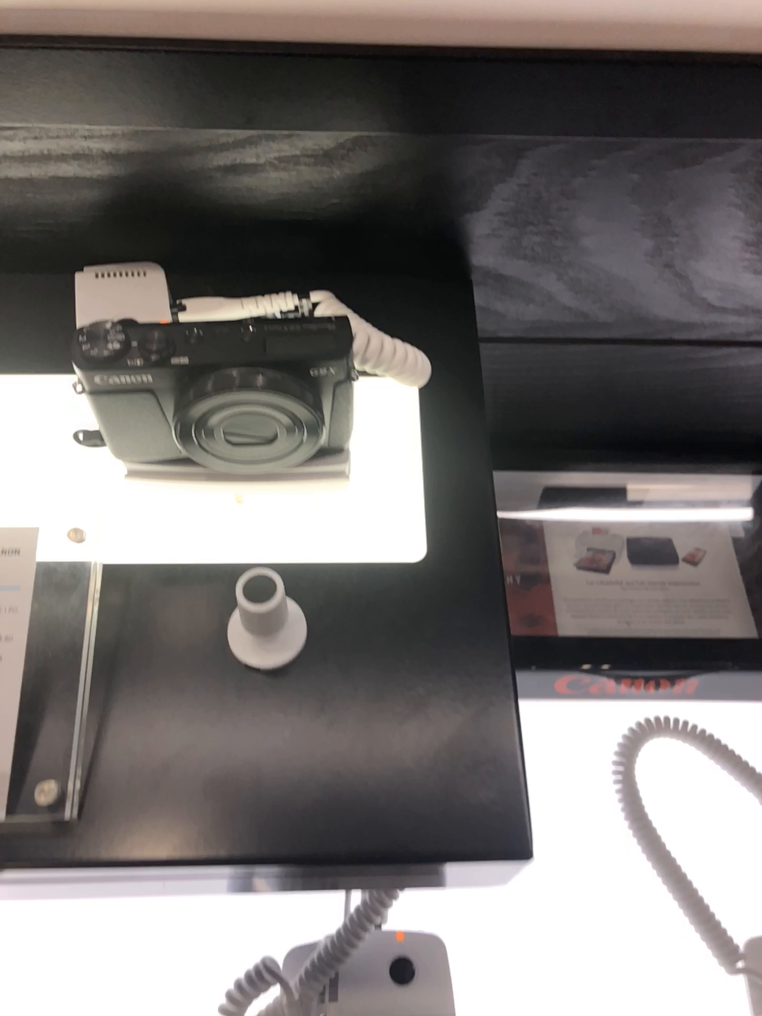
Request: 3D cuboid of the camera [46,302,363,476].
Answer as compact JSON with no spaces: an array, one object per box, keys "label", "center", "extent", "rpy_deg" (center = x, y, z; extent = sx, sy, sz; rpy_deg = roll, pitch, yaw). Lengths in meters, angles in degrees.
[{"label":"camera","center":[-0.058,-0.041,0.301],"extent":[0.100,0.059,0.025],"rpy_deg":[-3,57,-5]}]
